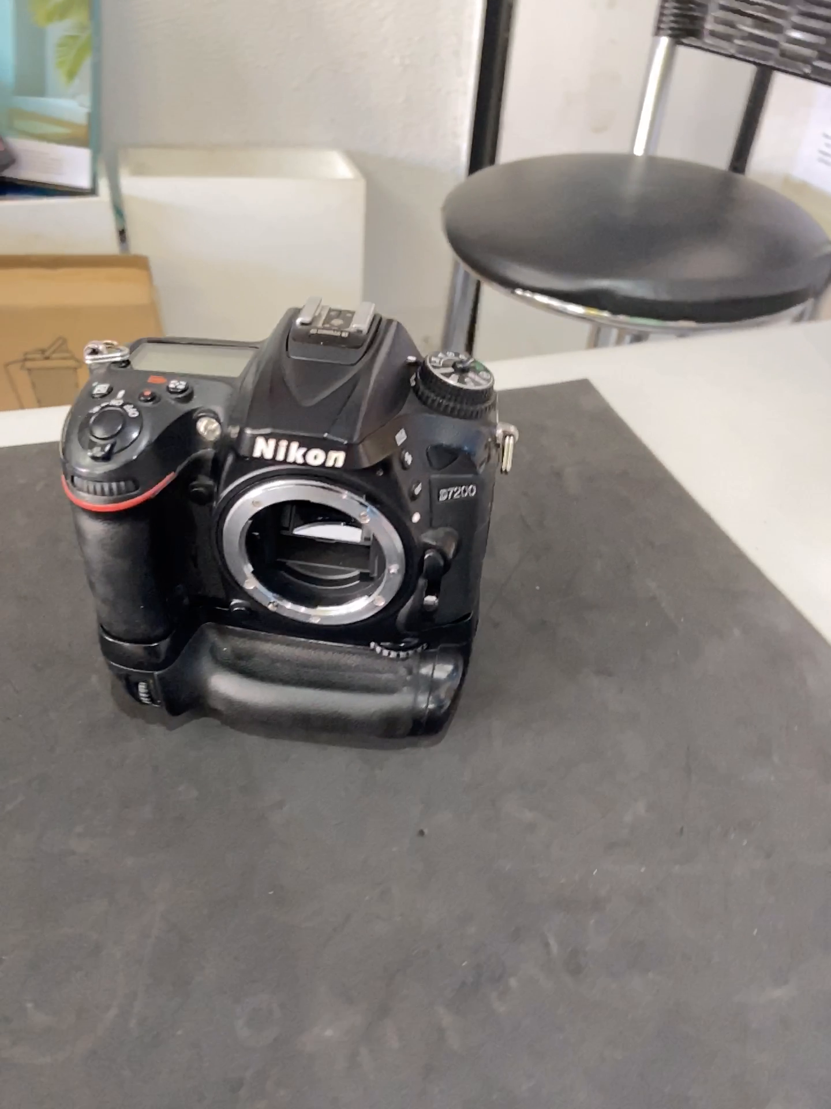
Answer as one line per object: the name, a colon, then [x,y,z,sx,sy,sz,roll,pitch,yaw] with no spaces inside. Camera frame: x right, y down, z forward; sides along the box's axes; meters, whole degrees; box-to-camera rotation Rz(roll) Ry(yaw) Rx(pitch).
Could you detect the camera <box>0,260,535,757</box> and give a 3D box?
camera: [-0.039,-0.017,0.281,0.140,0.109,0.101,6,40,3]
